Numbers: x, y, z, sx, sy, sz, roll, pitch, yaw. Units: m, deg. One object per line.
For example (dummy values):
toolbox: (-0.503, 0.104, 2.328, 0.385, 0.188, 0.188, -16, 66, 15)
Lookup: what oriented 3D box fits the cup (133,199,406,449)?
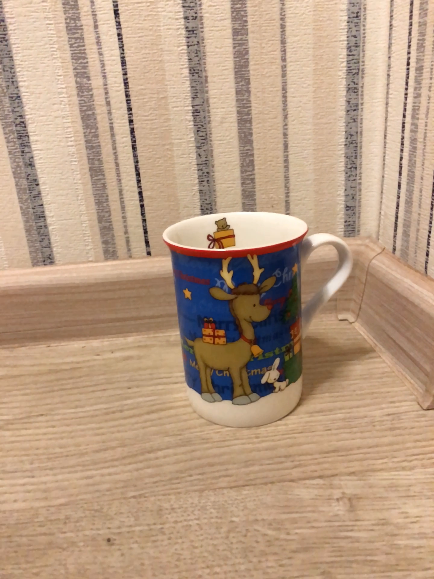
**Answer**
cup: (0.024, 0.010, 0.271, 0.120, 0.094, 0.088, -9, 21, -13)
